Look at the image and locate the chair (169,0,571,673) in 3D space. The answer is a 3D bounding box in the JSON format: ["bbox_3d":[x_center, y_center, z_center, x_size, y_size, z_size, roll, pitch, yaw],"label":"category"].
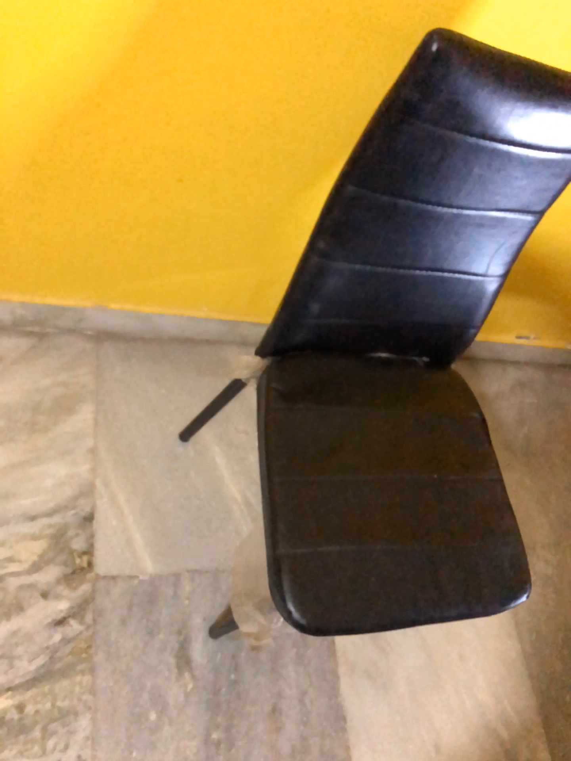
[{"bbox_3d":[0.173,0.081,0.924,0.481,0.904,0.532,4,62,-22],"label":"chair"}]
